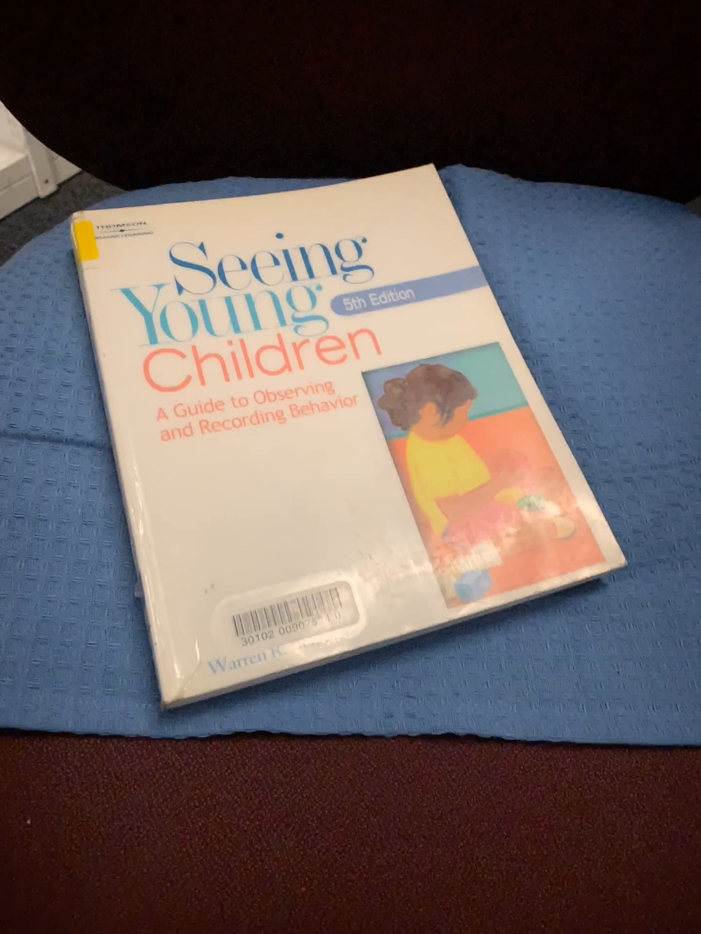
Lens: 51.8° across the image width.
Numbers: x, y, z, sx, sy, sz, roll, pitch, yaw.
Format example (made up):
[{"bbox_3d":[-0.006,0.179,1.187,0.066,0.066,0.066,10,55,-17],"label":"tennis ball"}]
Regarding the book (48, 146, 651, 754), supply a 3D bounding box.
[{"bbox_3d":[-0.011,-0.031,0.329,0.200,0.030,0.251,-13,69,-14],"label":"book"}]
